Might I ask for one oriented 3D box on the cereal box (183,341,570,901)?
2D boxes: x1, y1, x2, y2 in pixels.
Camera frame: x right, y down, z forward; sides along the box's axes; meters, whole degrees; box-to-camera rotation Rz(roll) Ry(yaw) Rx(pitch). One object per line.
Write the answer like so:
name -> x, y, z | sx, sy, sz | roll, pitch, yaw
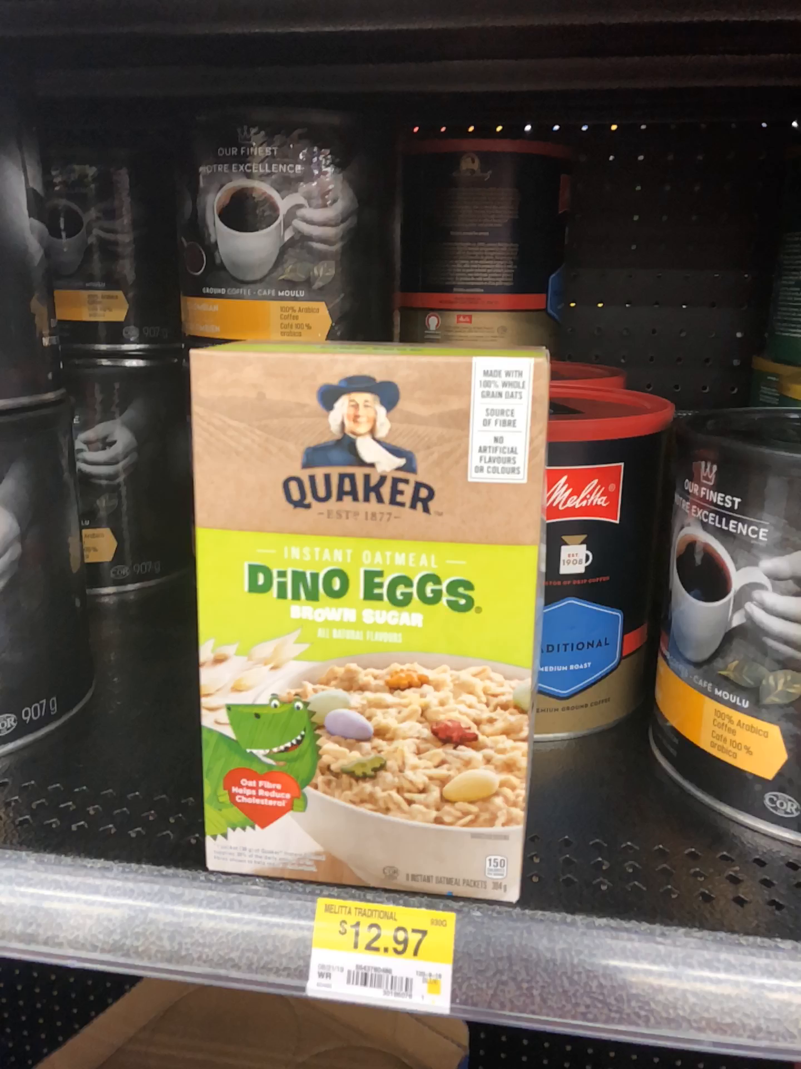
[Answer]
cereal box -> -0.007, 0.028, 0.350 | 0.130, 0.199, 0.070 | 3, 13, 7
